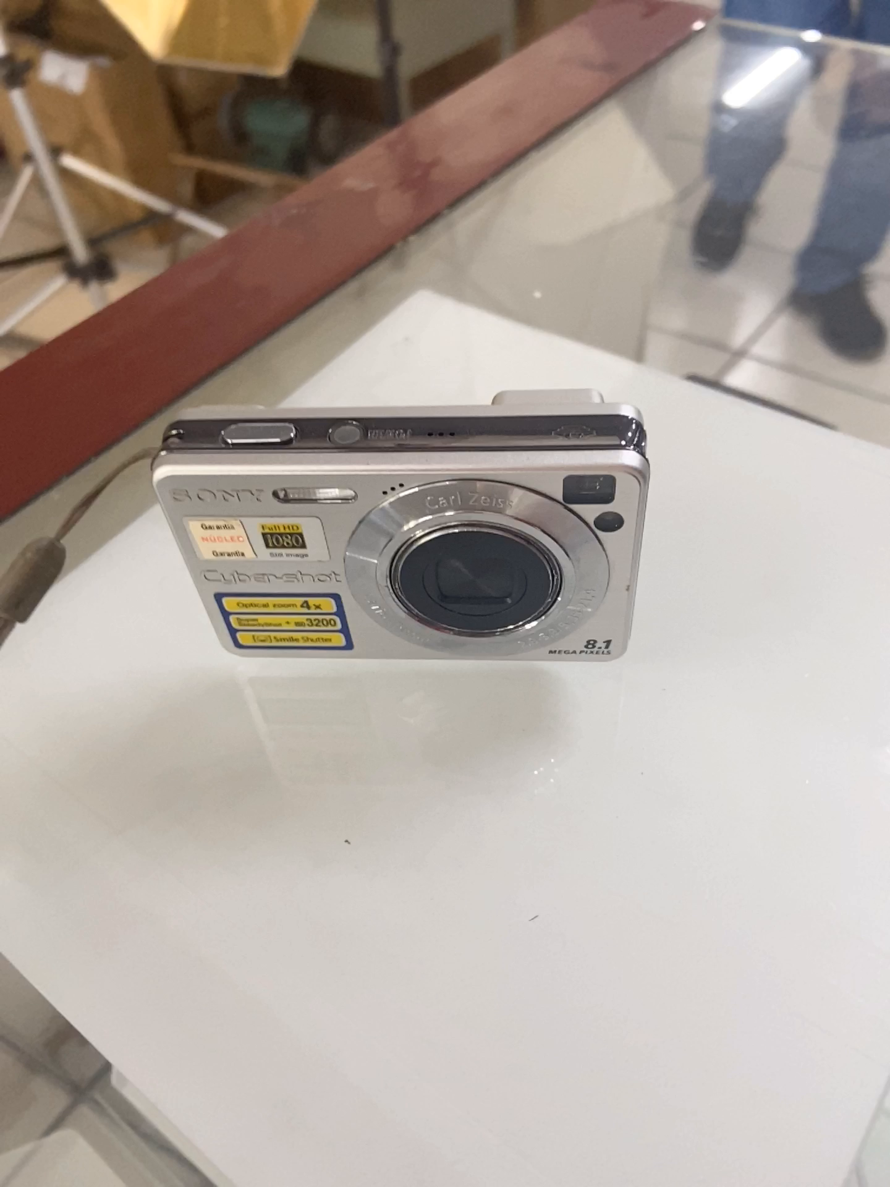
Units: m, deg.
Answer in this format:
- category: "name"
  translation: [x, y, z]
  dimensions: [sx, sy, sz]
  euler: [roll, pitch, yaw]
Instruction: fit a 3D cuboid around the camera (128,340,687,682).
- category: "camera"
  translation: [-0.004, -0.013, 0.181]
  dimensions: [0.090, 0.060, 0.030]
  euler: [-1, 48, 5]
